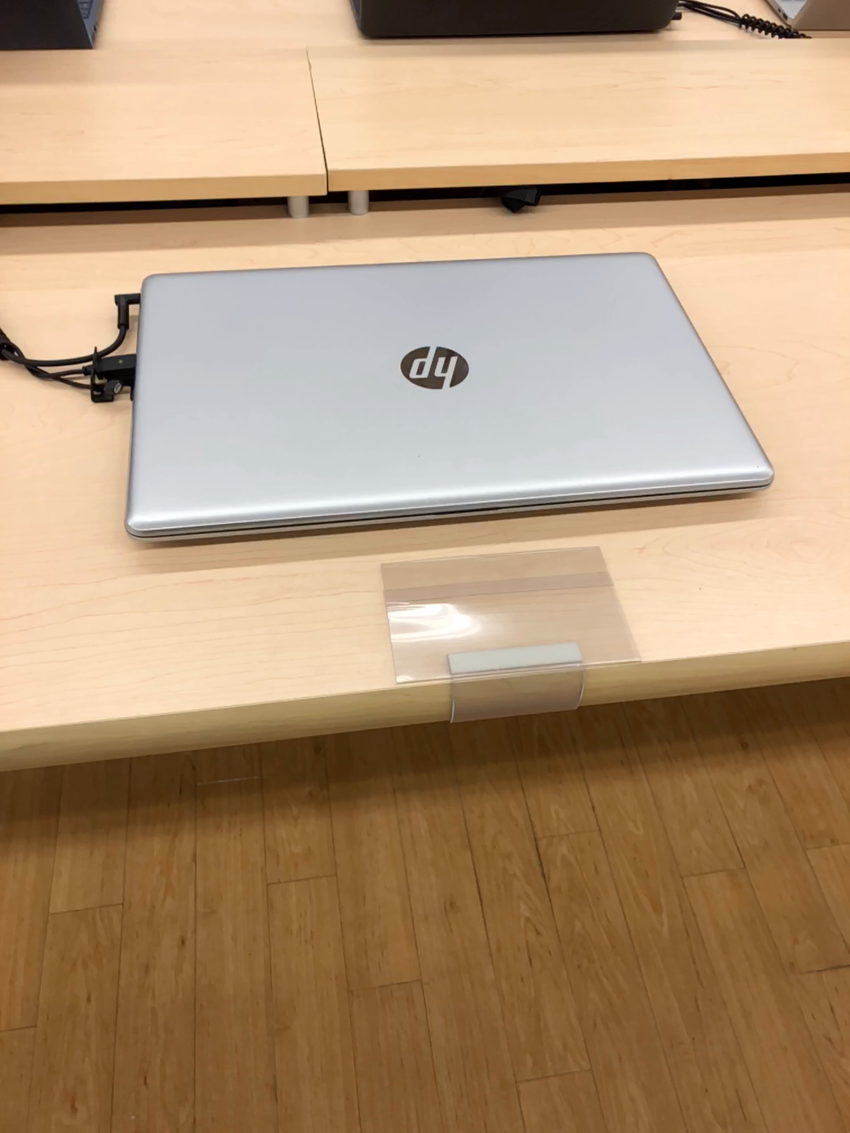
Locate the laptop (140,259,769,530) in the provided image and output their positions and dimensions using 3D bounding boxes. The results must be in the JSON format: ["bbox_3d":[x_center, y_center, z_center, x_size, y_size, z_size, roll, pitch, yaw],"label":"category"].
[{"bbox_3d":[0.007,-0.137,0.661,0.397,0.001,0.258,-5,50,-8],"label":"laptop"}]
